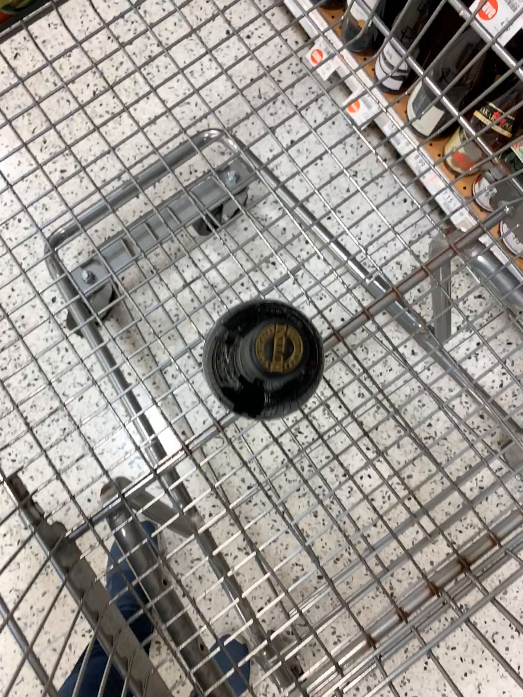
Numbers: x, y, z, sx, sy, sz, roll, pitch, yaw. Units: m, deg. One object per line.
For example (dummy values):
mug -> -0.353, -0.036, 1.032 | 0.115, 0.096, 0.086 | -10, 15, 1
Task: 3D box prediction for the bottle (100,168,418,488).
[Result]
bottle -> -0.004, 0.003, 0.373 | 0.090, 0.300, 0.100 | -36, 86, -4
